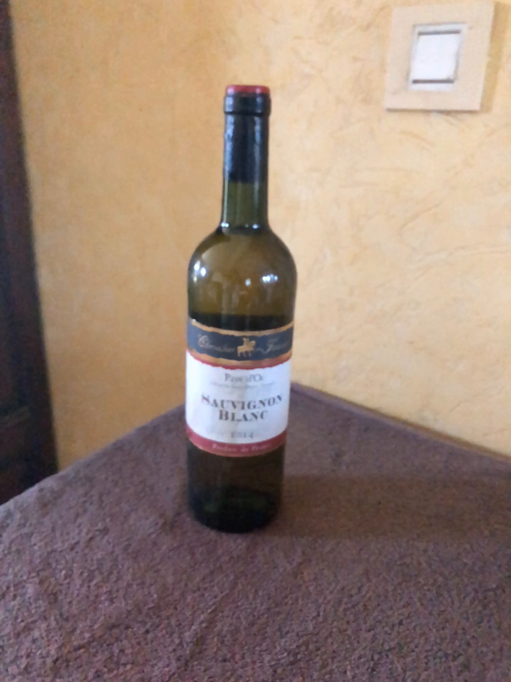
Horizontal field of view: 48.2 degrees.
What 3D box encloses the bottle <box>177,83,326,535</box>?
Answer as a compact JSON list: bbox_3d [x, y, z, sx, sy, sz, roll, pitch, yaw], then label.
[{"bbox_3d":[-0.009,-0.015,0.392,0.080,0.289,0.080,1,20,-1],"label":"bottle"}]
